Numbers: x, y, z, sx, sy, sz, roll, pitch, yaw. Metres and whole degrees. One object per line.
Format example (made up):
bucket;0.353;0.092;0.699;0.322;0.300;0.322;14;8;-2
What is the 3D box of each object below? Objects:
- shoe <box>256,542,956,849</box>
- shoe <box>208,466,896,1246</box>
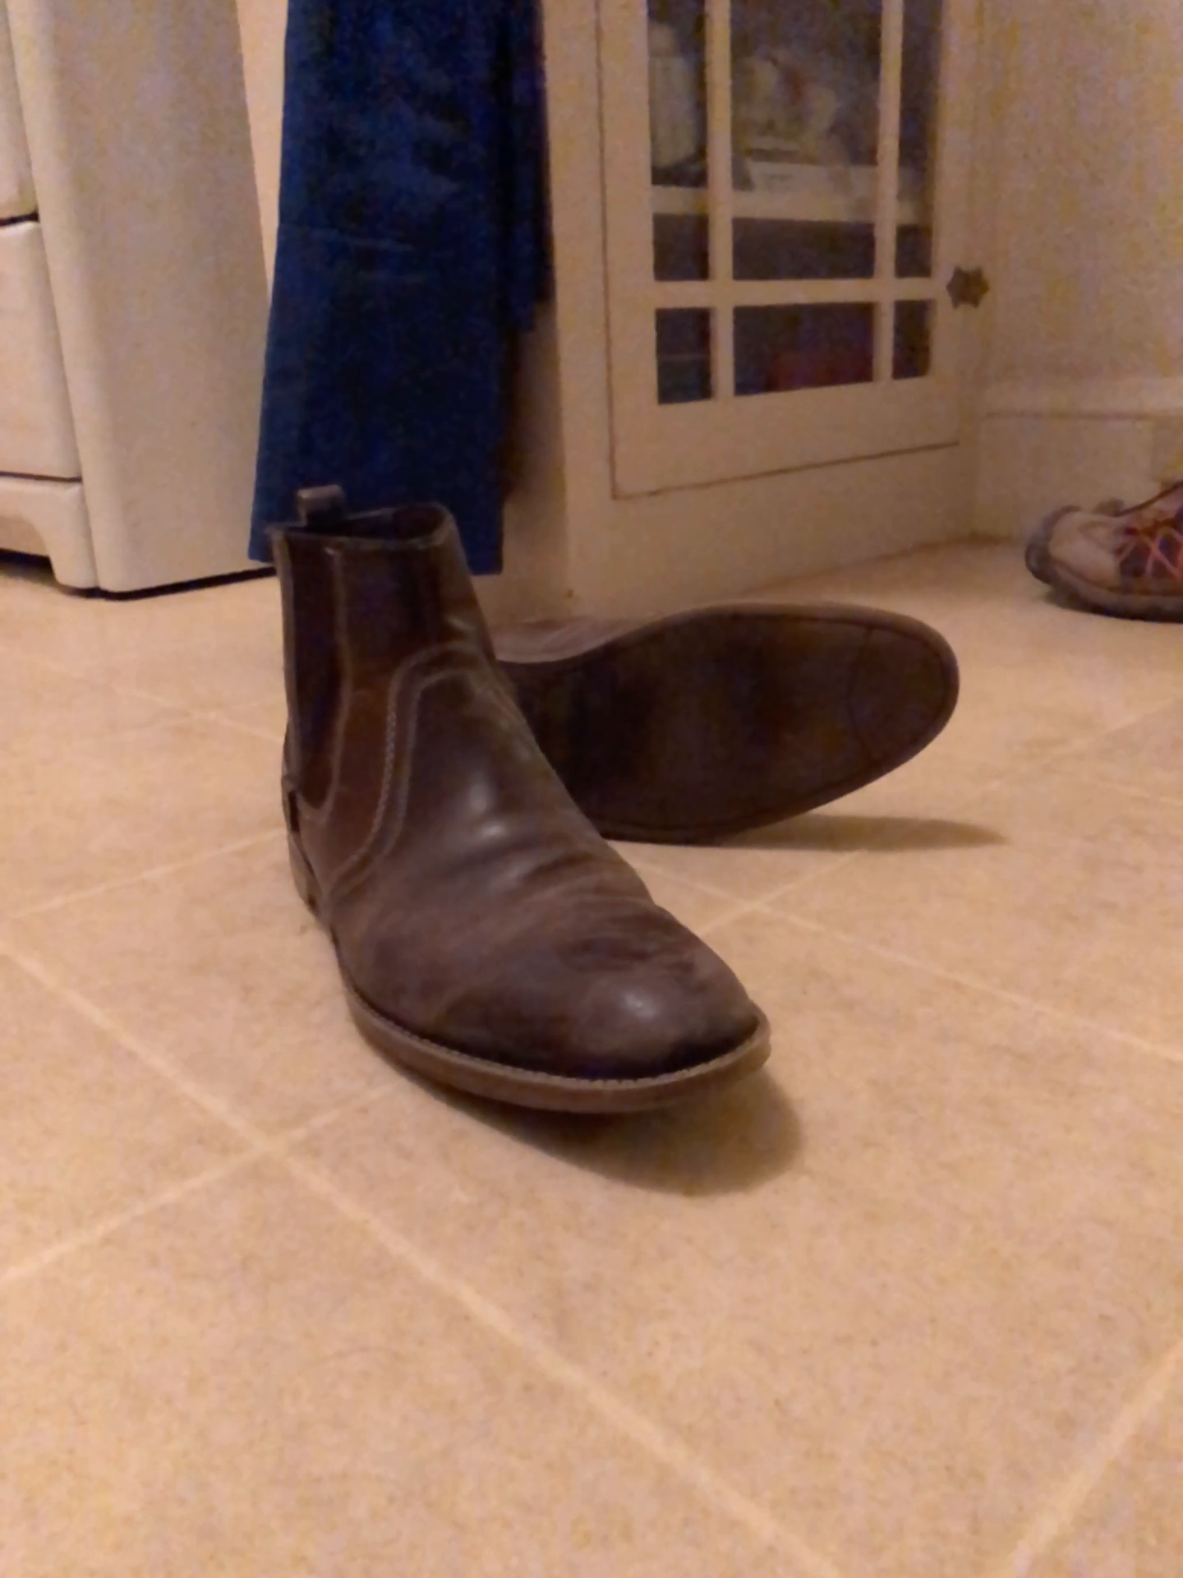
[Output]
shoe;0.018;-0.058;0.657;0.313;0.111;0.162;3;17;14
shoe;-0.040;-0.016;0.455;0.111;0.160;0.314;-10;20;-23
